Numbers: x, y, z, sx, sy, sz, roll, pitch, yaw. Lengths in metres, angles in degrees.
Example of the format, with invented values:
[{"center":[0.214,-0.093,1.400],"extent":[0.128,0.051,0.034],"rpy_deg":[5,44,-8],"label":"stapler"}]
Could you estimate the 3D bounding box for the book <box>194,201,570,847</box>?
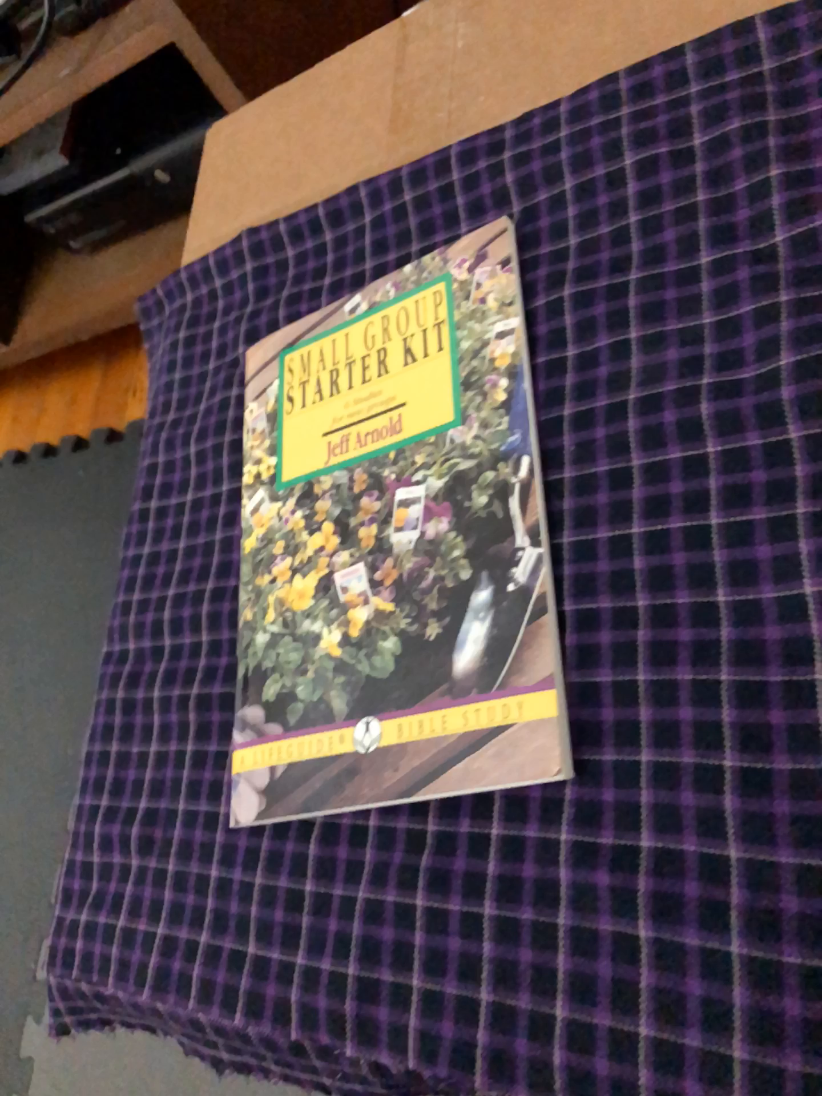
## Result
[{"center":[-0.021,-0.009,0.345],"extent":[0.150,0.010,0.221],"rpy_deg":[-18,62,33],"label":"book"}]
